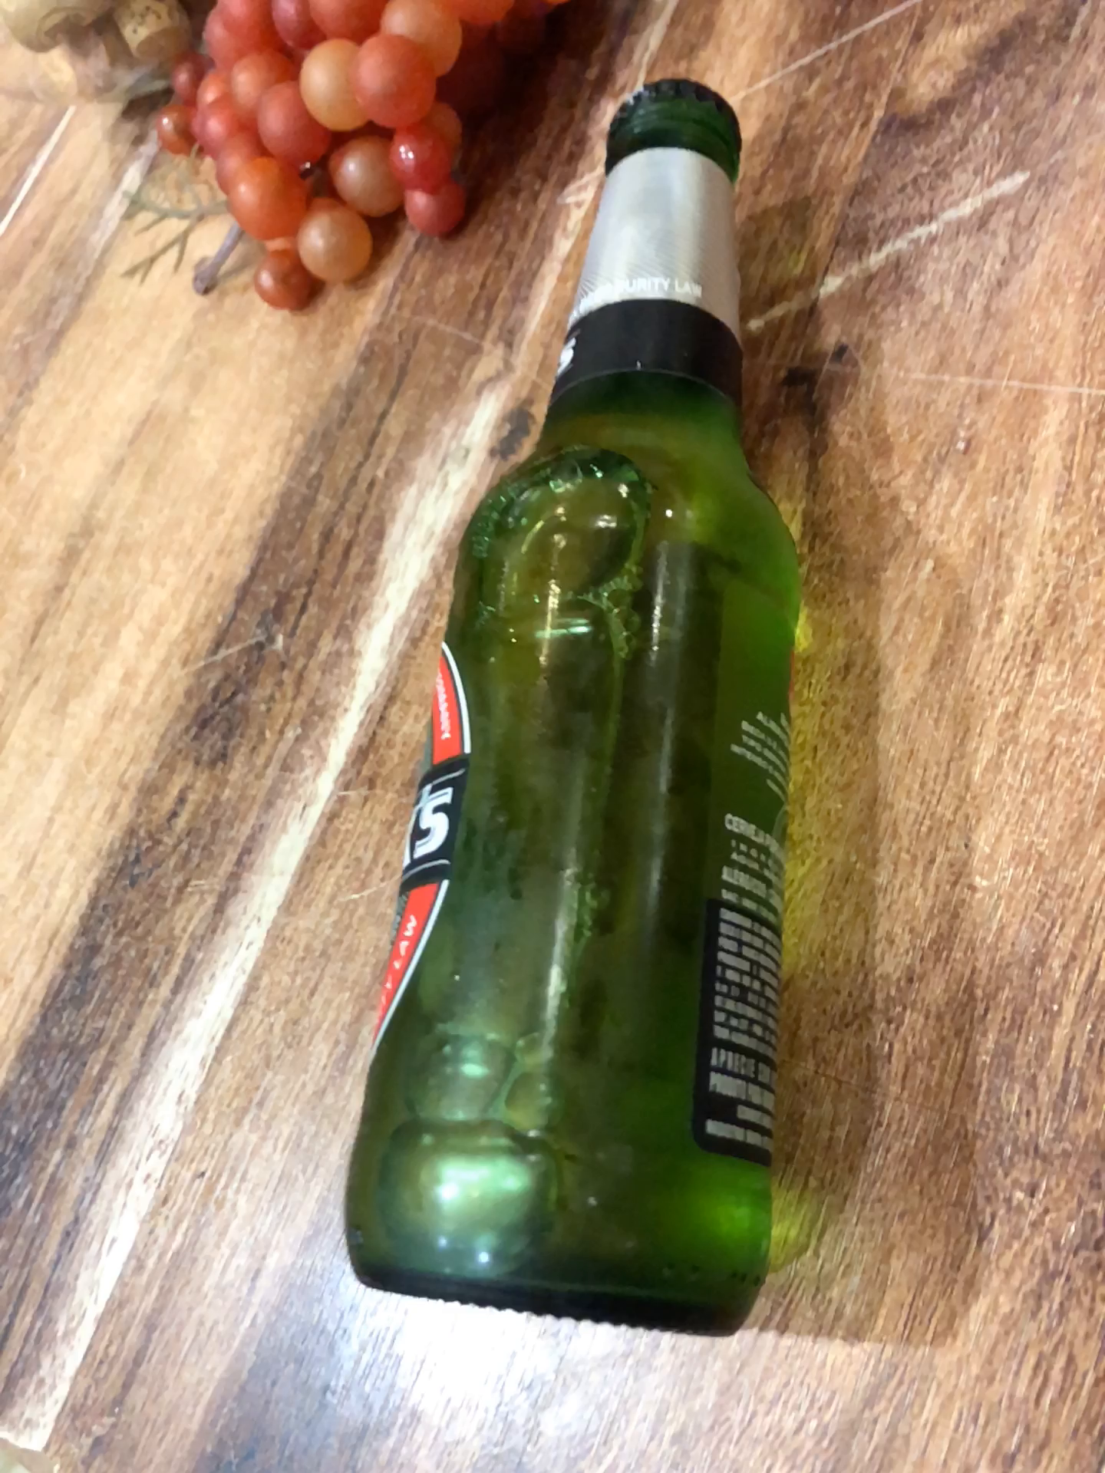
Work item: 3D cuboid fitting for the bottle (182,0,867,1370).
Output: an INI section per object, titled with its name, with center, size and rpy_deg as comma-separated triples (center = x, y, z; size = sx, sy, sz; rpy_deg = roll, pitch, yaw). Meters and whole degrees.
[bottle]
center = 0.010, -0.025, 0.213
size = 0.070, 0.060, 0.230
rpy_deg = -5, 64, 26
